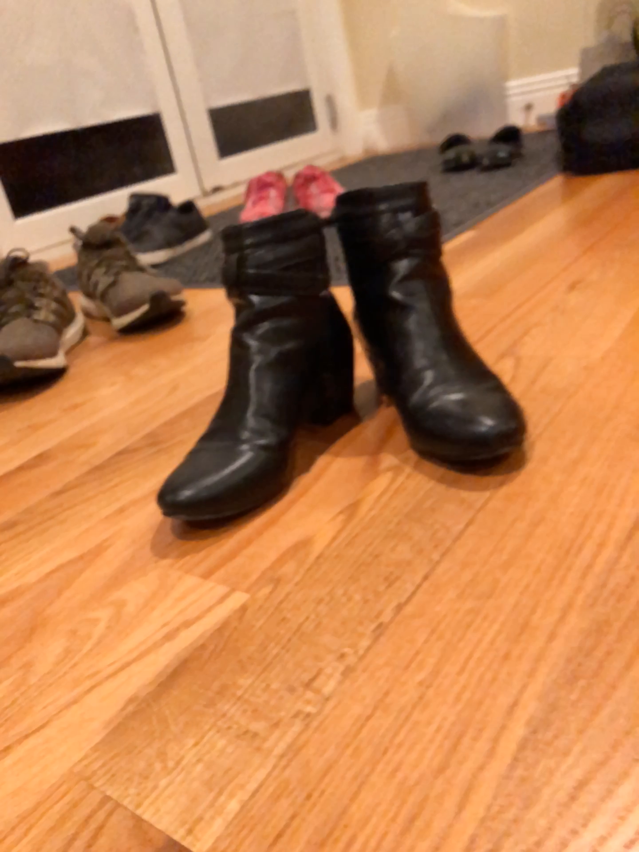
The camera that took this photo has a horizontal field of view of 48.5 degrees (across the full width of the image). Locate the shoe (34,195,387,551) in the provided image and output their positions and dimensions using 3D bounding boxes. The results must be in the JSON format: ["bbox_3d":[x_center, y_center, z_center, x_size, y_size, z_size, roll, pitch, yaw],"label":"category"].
[{"bbox_3d":[-0.058,-0.052,0.519,0.090,0.172,0.227,4,28,35],"label":"shoe"}]

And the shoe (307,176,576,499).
[{"bbox_3d":[0.079,-0.083,0.526,0.090,0.172,0.227,-17,23,-9],"label":"shoe"}]
